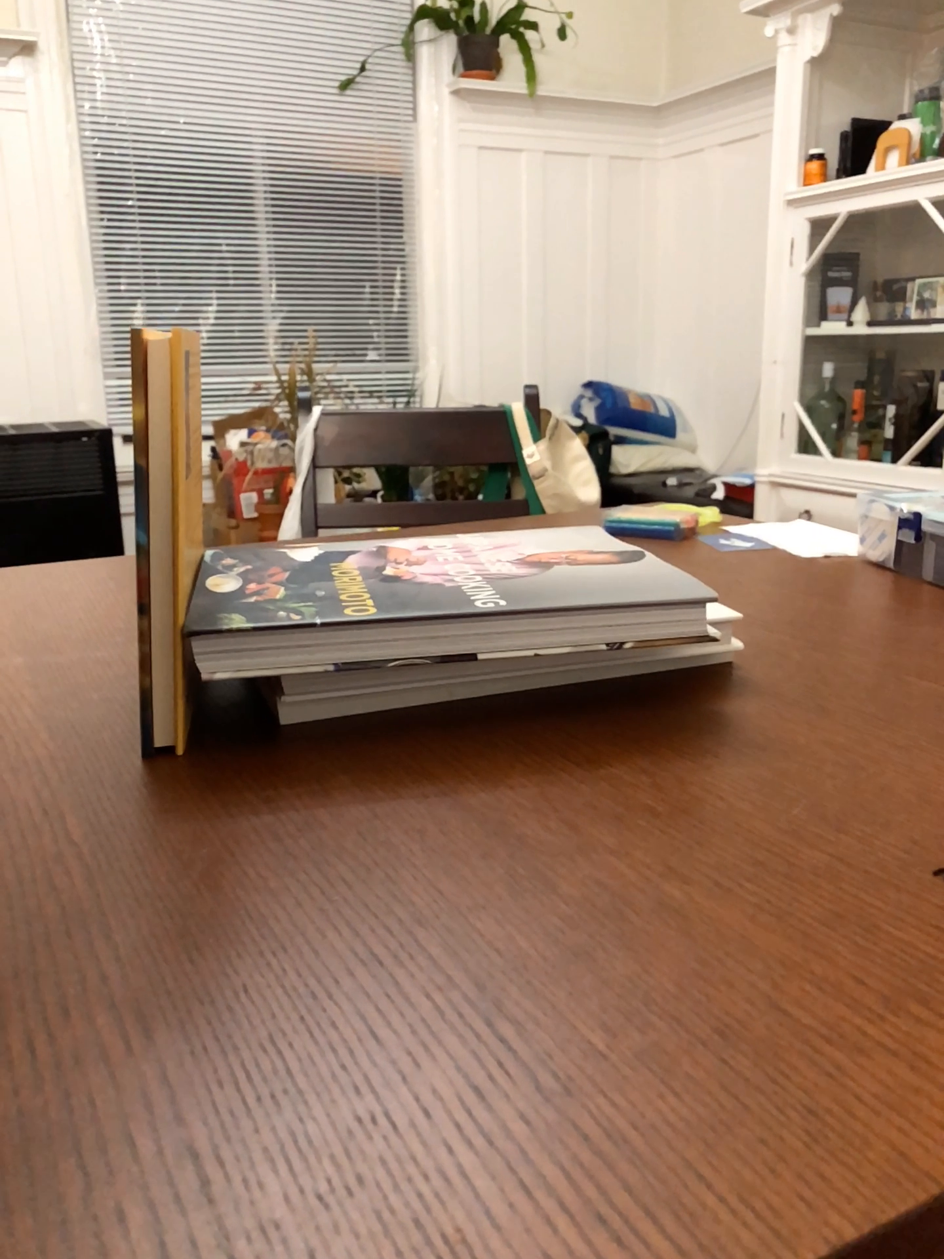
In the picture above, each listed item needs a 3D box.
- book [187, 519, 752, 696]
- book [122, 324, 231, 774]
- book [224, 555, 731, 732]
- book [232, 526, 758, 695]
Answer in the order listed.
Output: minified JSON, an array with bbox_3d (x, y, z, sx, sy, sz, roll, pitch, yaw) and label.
[{"bbox_3d":[-0.017,-0.024,0.610,0.280,0.030,0.221,-5,15,-12],"label":"book"},{"bbox_3d":[-0.158,-0.060,0.580,0.030,0.209,0.211,-1,15,-10],"label":"book"},{"bbox_3d":[-0.009,-0.003,0.698,0.280,0.030,0.221,-7,16,-19],"label":"book"},{"bbox_3d":[0.000,-0.023,0.668,0.280,0.030,0.221,-7,16,-17],"label":"book"}]
